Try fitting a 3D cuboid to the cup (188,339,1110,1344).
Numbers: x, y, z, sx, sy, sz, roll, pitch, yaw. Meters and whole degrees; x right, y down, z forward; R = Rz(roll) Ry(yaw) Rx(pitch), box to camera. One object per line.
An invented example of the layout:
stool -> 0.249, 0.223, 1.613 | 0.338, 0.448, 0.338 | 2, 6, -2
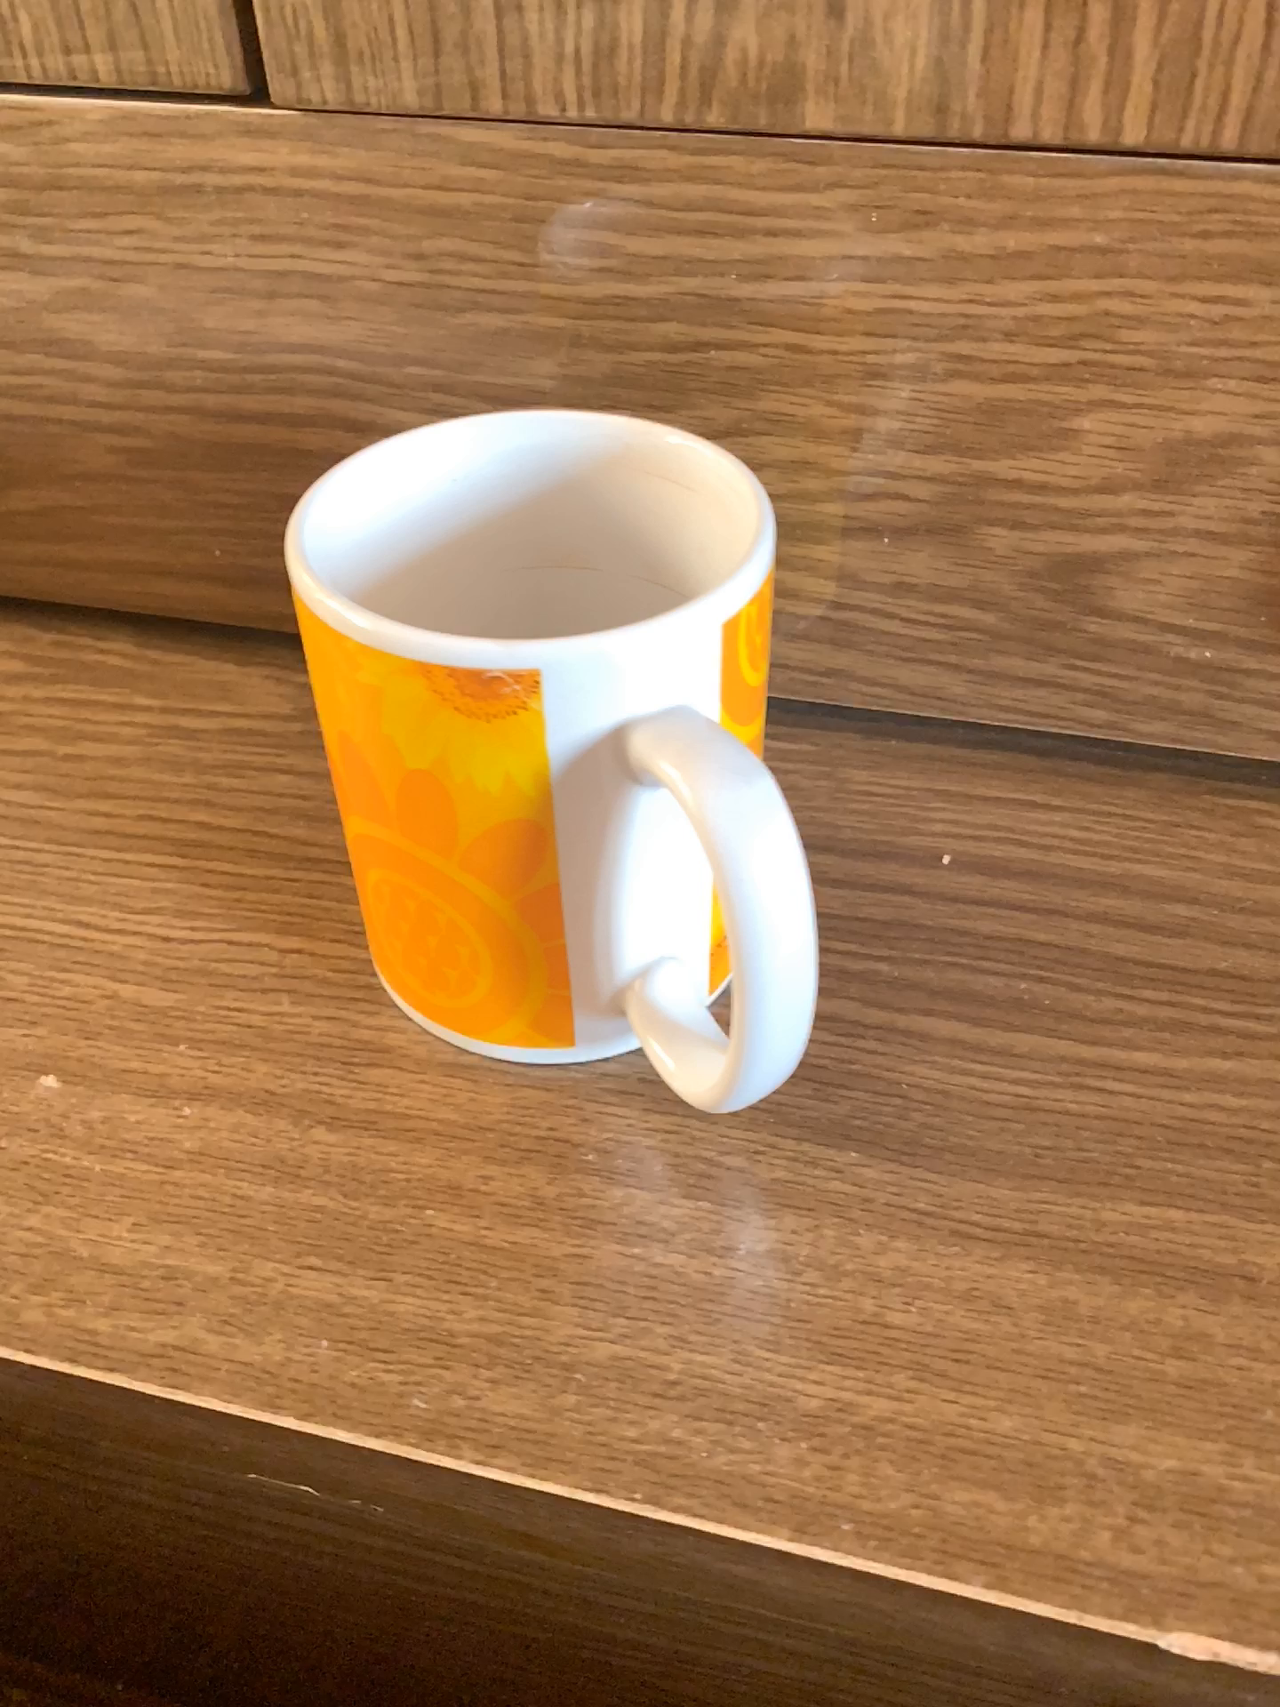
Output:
cup -> -0.007, -0.011, 0.230 | 0.090, 0.097, 0.124 | -19, 46, -19
